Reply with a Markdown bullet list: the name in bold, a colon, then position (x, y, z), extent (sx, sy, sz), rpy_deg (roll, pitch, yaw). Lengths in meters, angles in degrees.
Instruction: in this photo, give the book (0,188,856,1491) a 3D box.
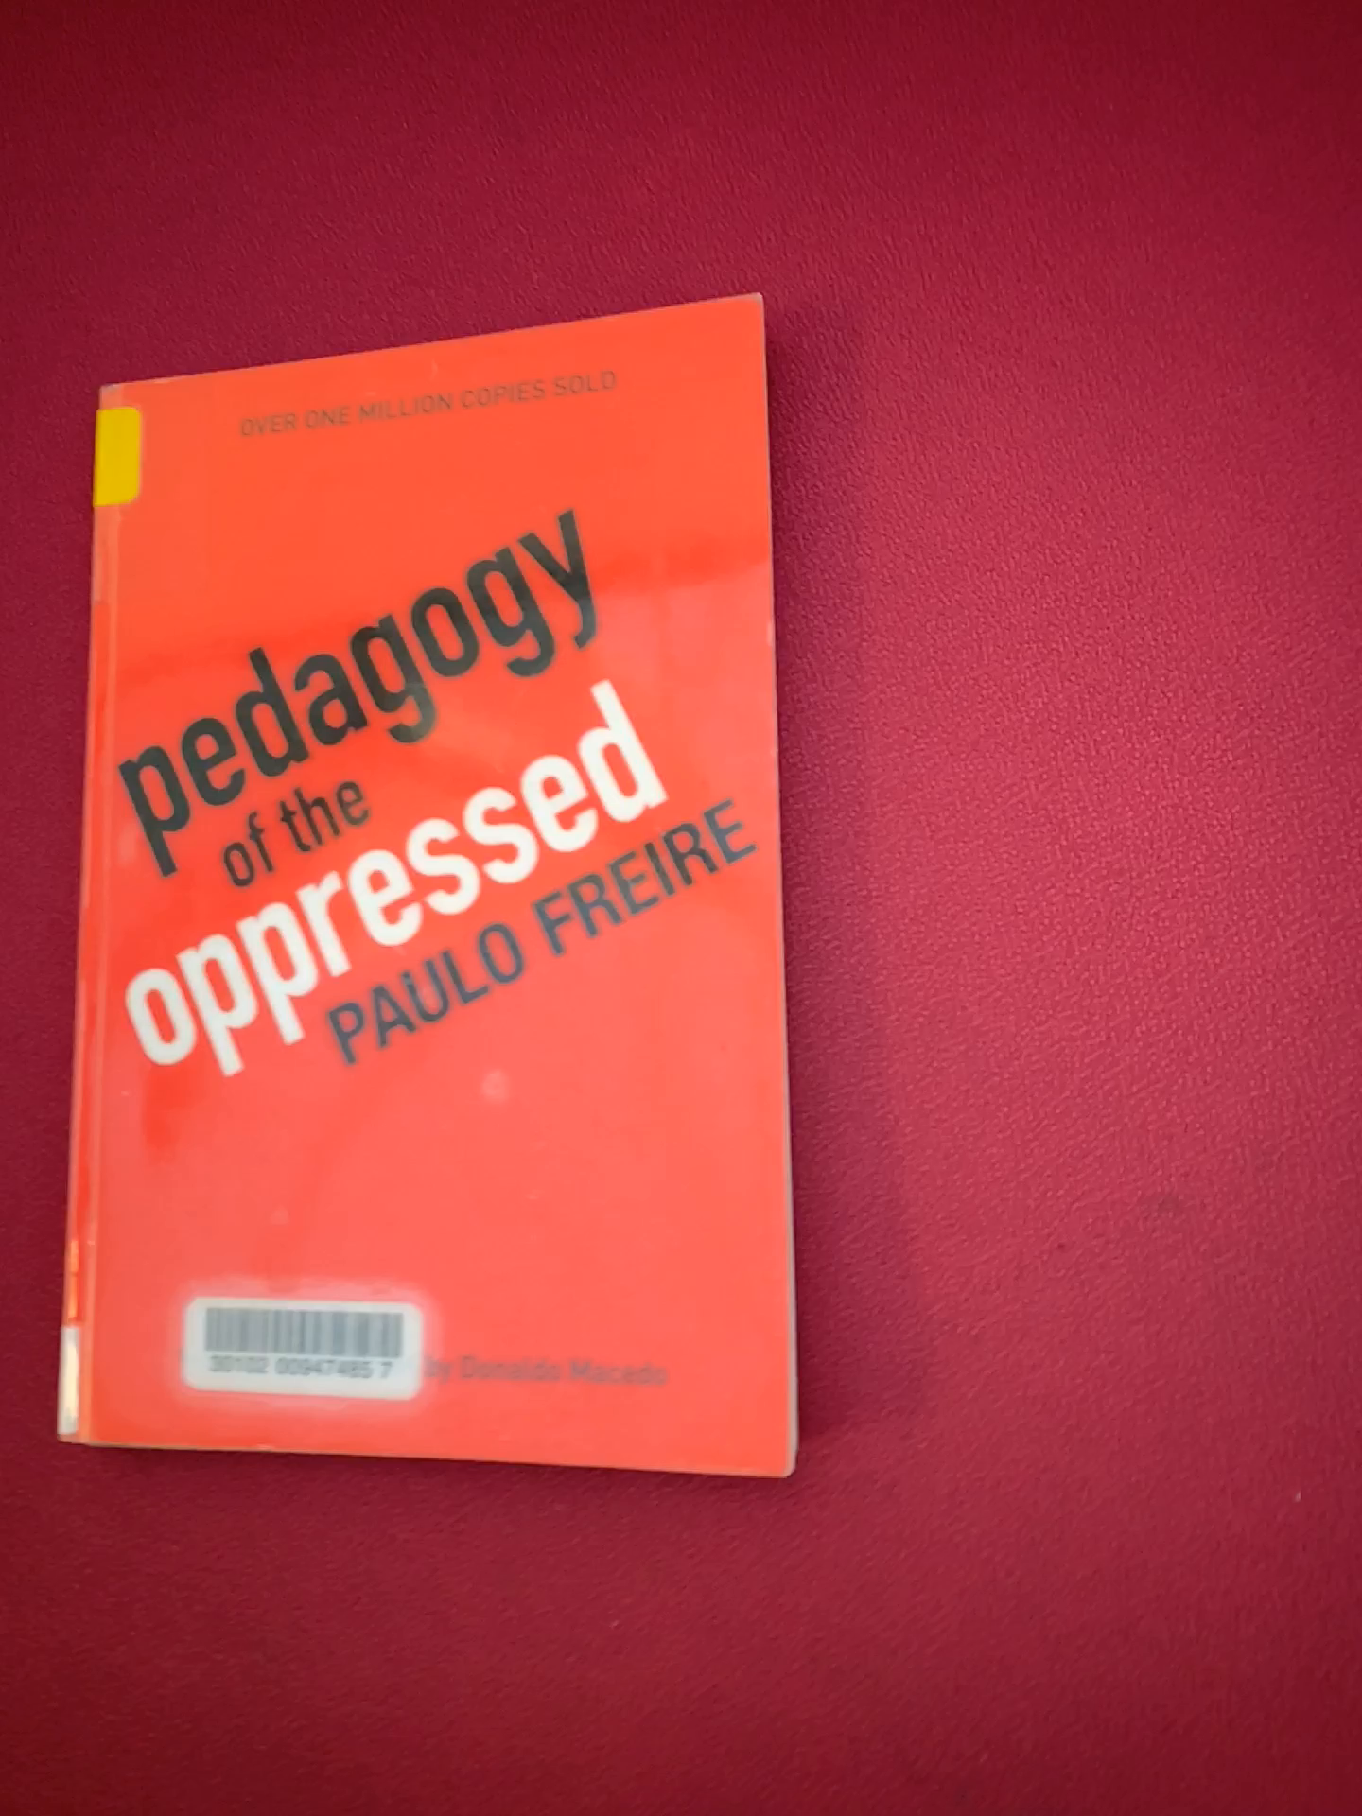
- **book**: position (-0.057, -0.014, 0.285), extent (0.170, 0.030, 0.240), rpy_deg (-4, 81, 13)
